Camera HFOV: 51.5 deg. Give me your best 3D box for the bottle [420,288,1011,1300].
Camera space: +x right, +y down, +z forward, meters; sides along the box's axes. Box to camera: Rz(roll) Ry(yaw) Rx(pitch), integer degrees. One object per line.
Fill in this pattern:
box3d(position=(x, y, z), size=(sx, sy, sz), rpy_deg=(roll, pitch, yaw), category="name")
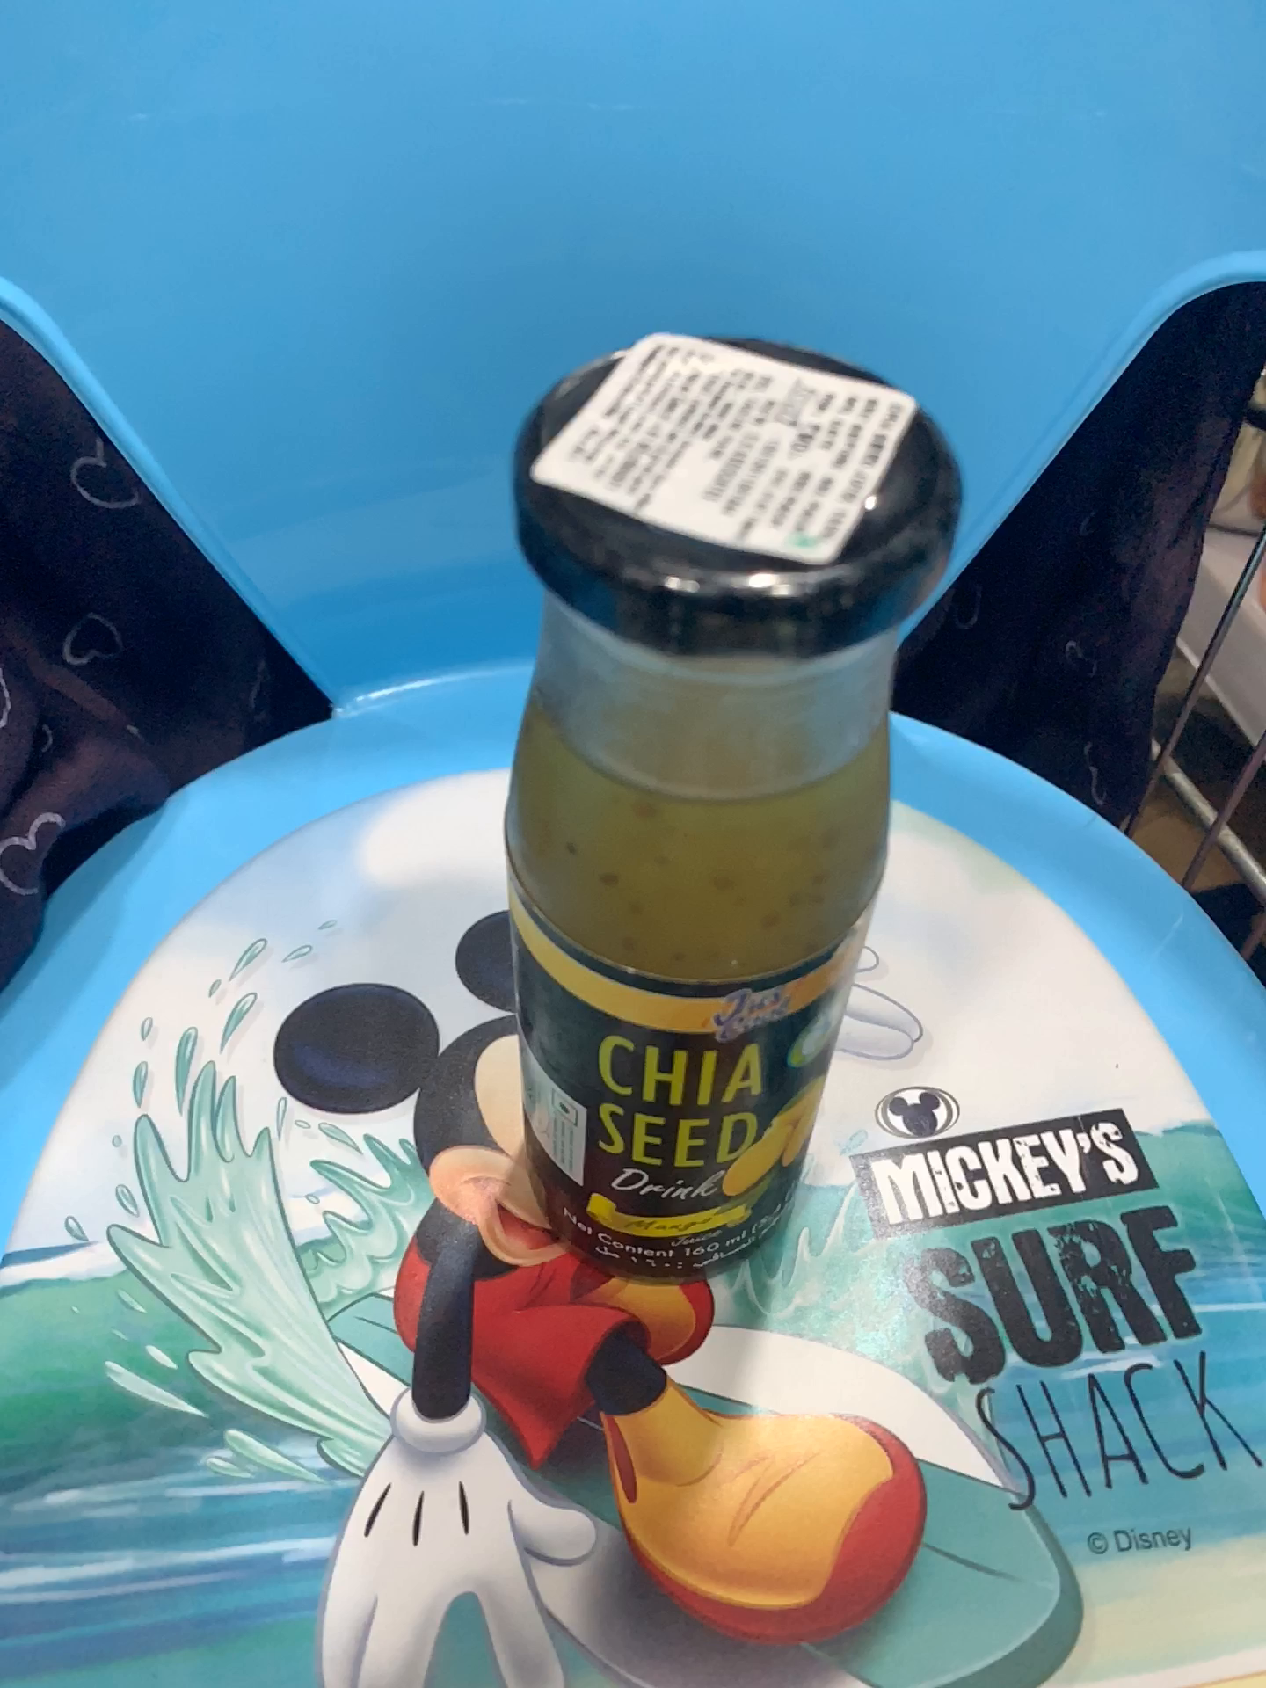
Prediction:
box3d(position=(0.006, 0.005, 0.178), size=(0.050, 0.140, 0.050), rpy_deg=(0, 46, 0), category="bottle")
